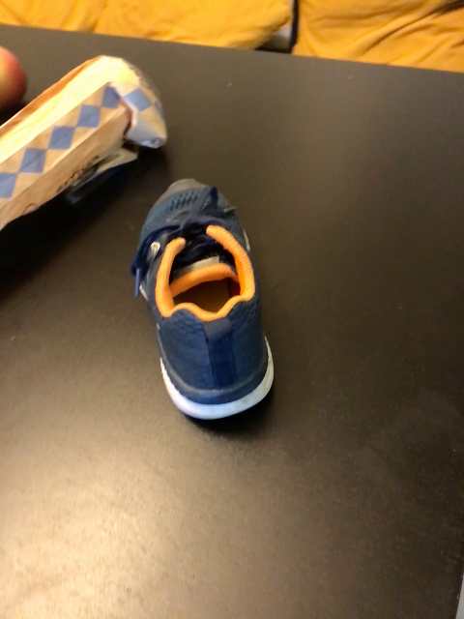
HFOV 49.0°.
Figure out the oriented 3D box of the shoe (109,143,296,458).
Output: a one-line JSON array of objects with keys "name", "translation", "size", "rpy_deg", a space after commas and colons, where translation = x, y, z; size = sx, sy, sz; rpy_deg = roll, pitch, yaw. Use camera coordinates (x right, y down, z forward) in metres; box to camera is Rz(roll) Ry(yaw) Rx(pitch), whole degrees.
[{"name": "shoe", "translation": [-0.025, -0.017, 0.322], "size": [0.084, 0.072, 0.187], "rpy_deg": [-11, 50, -3]}]
